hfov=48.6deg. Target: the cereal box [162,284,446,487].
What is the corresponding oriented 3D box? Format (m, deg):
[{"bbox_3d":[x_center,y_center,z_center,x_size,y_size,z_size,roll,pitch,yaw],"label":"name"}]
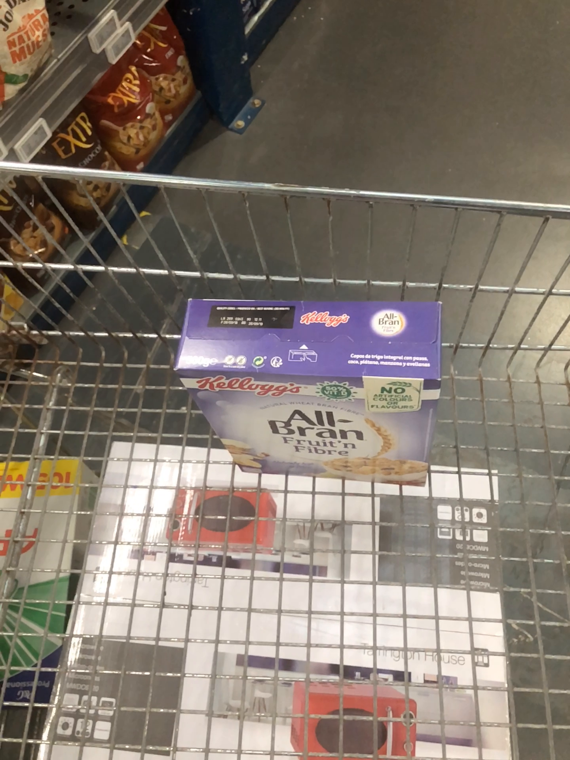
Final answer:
[{"bbox_3d":[0.030,0.016,0.558,0.200,0.230,0.080,2,64,10],"label":"cereal box"}]
